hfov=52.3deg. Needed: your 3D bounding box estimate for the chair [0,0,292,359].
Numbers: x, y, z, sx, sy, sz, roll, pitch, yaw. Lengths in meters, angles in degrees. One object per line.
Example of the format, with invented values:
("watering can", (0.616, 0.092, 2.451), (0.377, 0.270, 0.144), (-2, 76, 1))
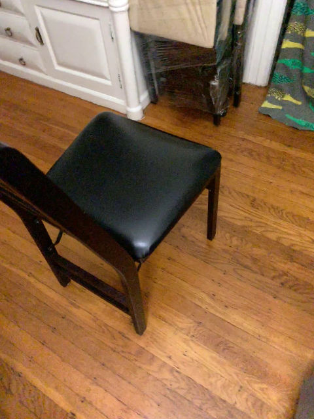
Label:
("chair", (-0.115, -0.112, 0.790), (0.491, 0.866, 0.551), (23, 59, 20))
